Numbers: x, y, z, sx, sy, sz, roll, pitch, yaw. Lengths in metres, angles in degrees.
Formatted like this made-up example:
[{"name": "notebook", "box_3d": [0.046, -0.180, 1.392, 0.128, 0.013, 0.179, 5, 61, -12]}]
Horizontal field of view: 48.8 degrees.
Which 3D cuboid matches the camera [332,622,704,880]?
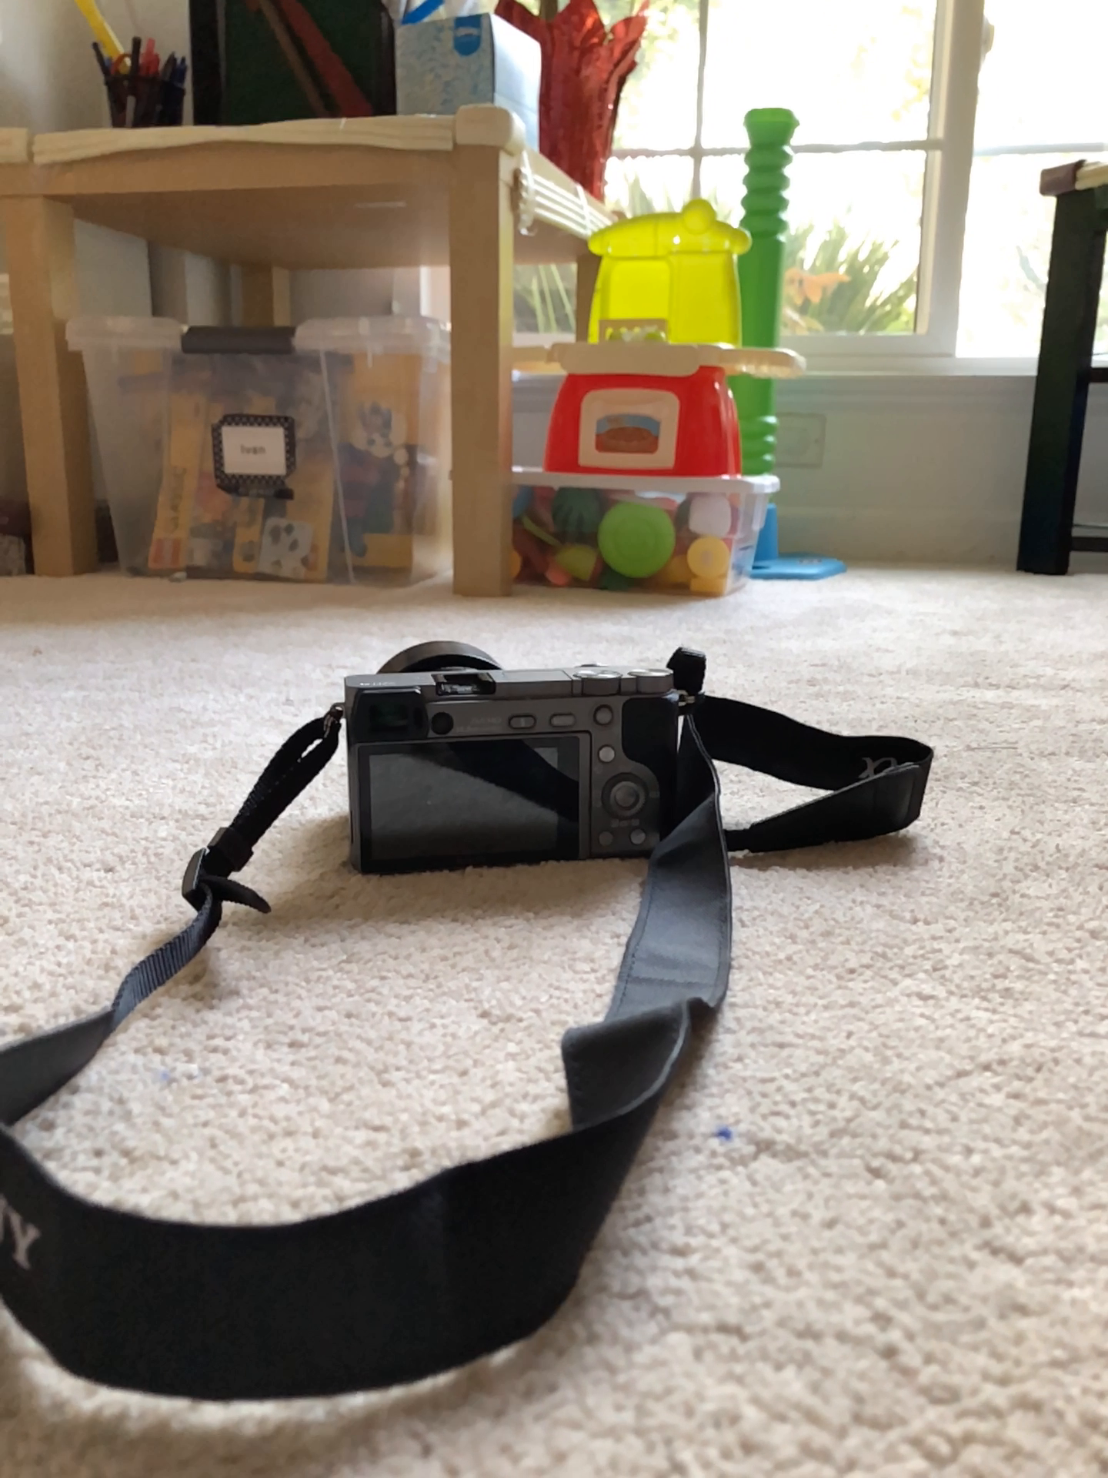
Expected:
[{"name": "camera", "box_3d": [-0.019, -0.001, 0.450, 0.120, 0.070, 0.100, -2, 12, -11]}]
